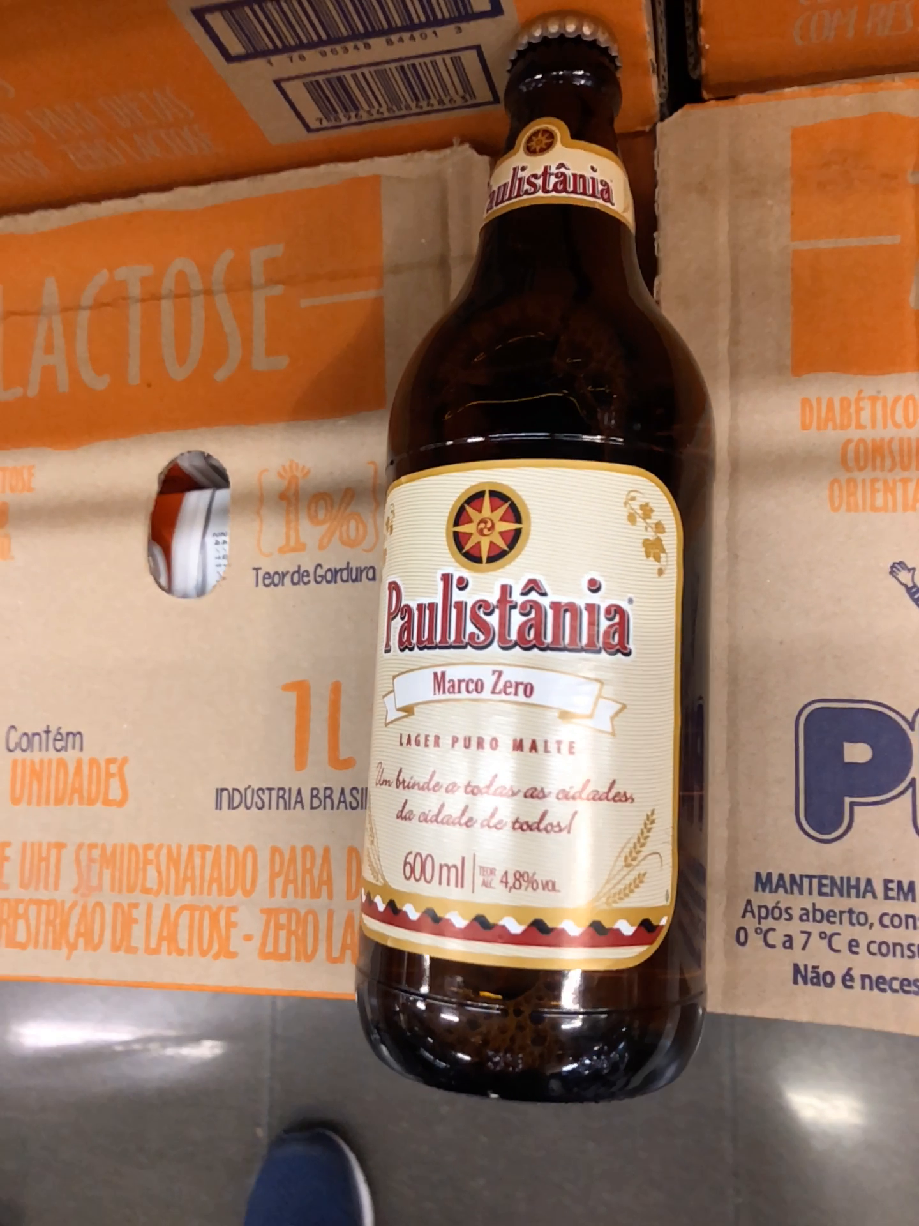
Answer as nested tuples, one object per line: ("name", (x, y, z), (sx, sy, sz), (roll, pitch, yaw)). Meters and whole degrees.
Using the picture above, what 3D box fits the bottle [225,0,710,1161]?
("bottle", (0.009, -0.035, 0.211), (0.080, 0.050, 0.250), (0, 81, 15))
